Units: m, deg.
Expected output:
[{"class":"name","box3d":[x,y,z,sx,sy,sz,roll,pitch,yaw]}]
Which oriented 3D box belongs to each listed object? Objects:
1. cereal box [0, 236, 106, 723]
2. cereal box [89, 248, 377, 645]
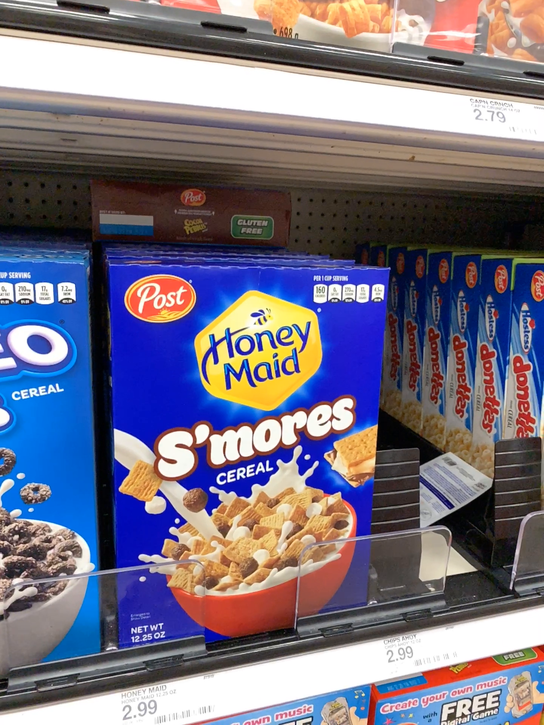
[{"class":"cereal box","box3d":[-0.204,0.062,0.352,0.180,0.269,0.070,-3,13,-19]},{"class":"cereal box","box3d":[-0.031,0.055,0.418,0.190,0.269,0.060,-2,13,-16]}]
